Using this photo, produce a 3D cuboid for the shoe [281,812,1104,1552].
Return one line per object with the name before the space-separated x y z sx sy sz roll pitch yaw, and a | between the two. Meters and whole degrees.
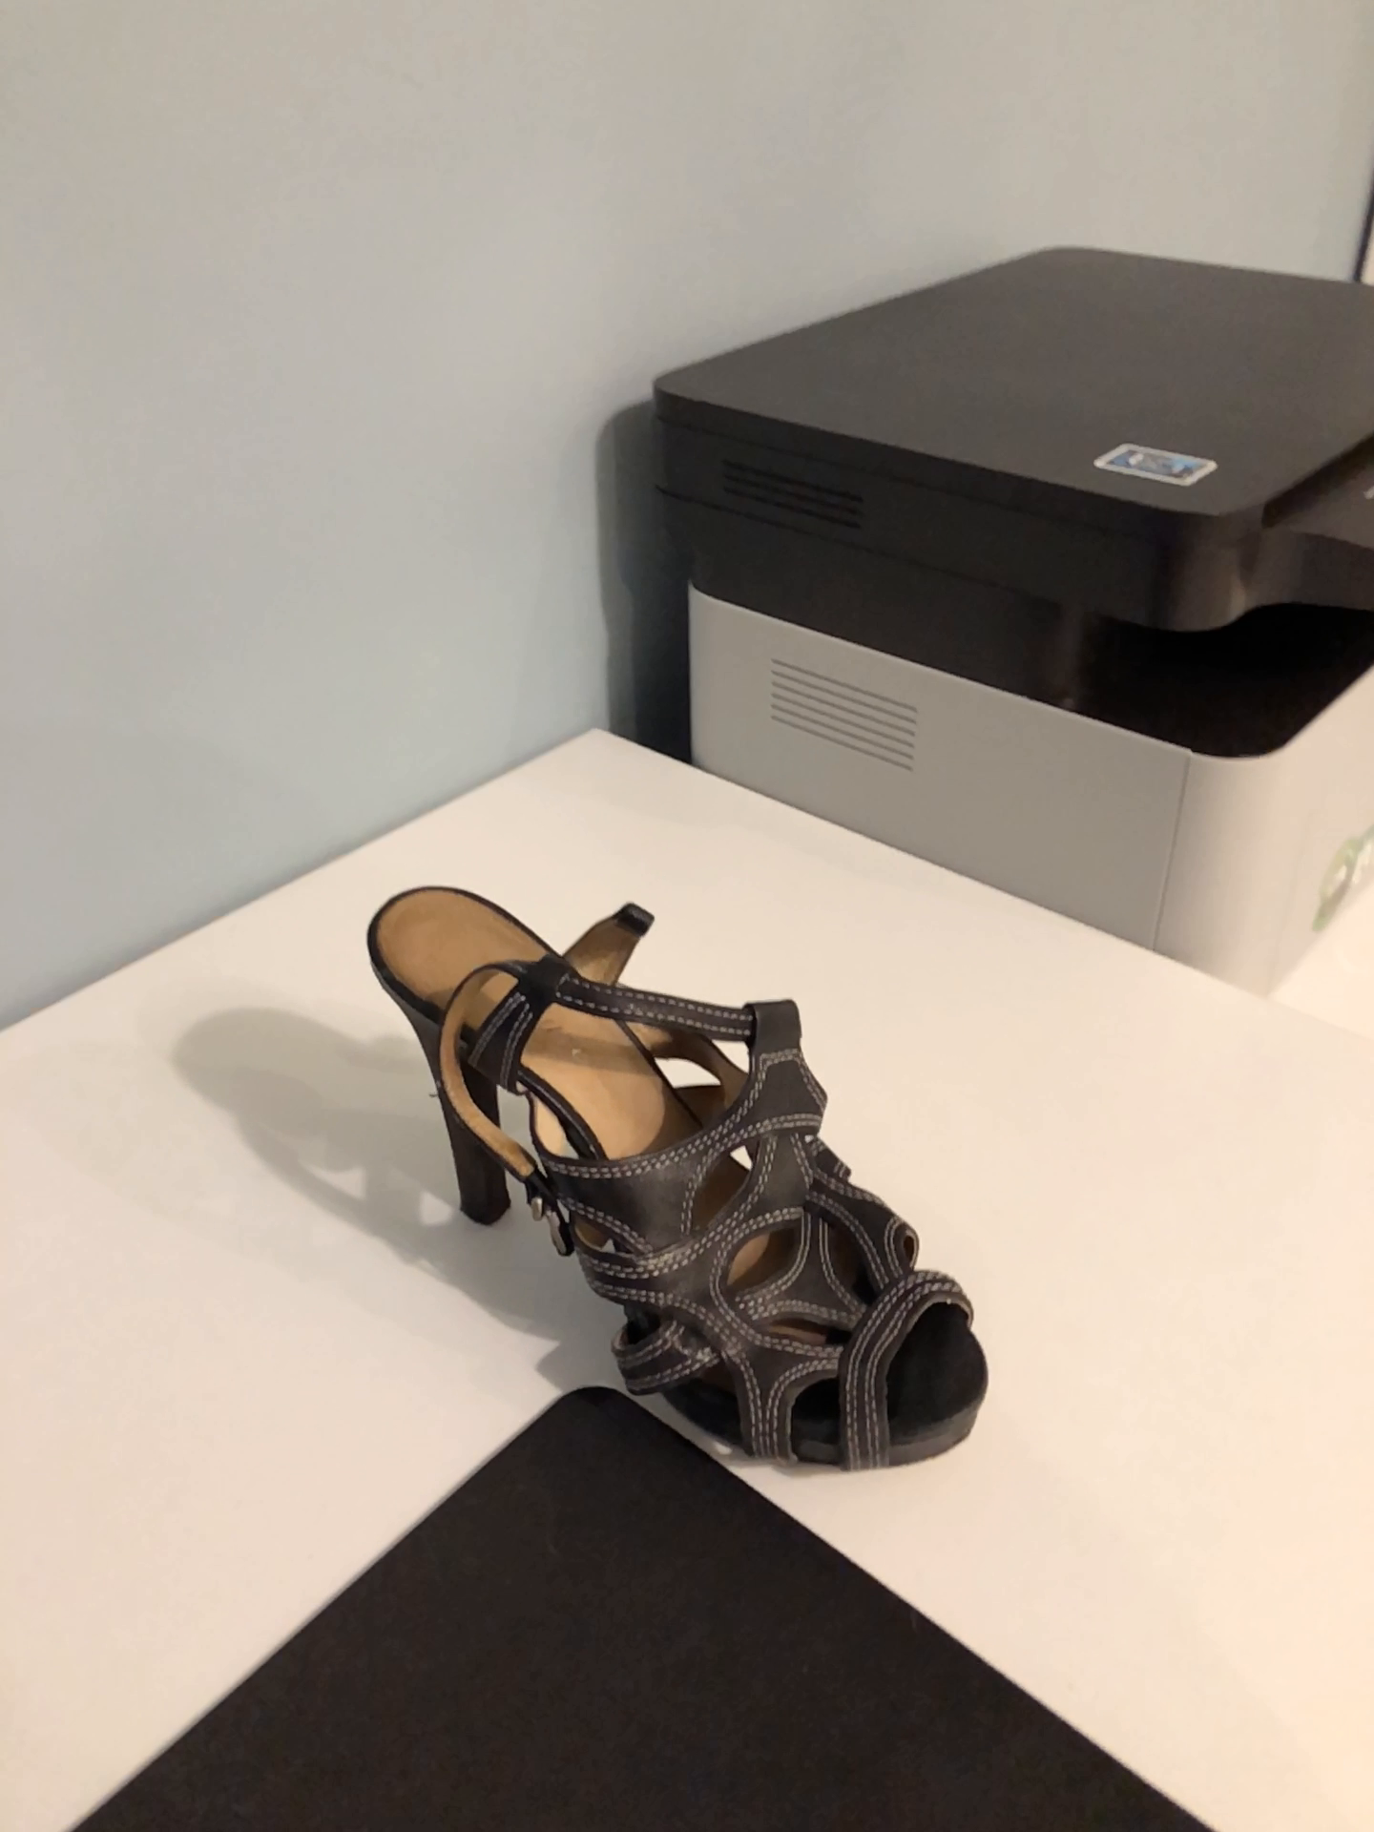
shoe | -0.005 0.066 0.459 0.220 0.099 0.101 24 41 30
